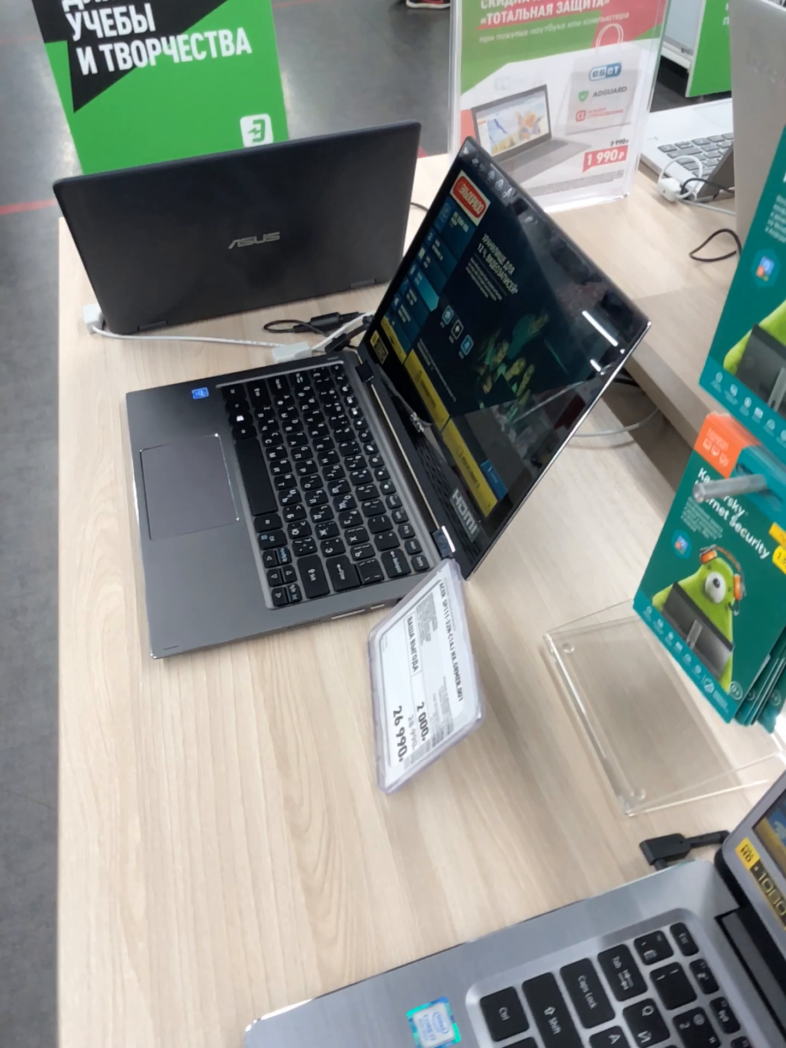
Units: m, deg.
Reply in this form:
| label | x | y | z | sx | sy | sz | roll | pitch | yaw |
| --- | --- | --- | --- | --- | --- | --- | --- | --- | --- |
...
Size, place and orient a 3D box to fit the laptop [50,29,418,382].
| label | x | y | z | sx | sy | sz | roll | pitch | yaw |
| --- | --- | --- | --- | --- | --- | --- | --- | --- | --- |
| laptop | -0.153 | -0.313 | 0.814 | 0.275 | 0.174 | 0.288 | -14 | 45 | -10 |

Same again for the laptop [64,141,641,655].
| label | x | y | z | sx | sy | sz | roll | pitch | yaw |
| --- | --- | --- | --- | --- | --- | --- | --- | --- | --- |
| laptop | -0.046 | -0.108 | 0.602 | 0.303 | 0.168 | 0.288 | -13 | 45 | -10 |
